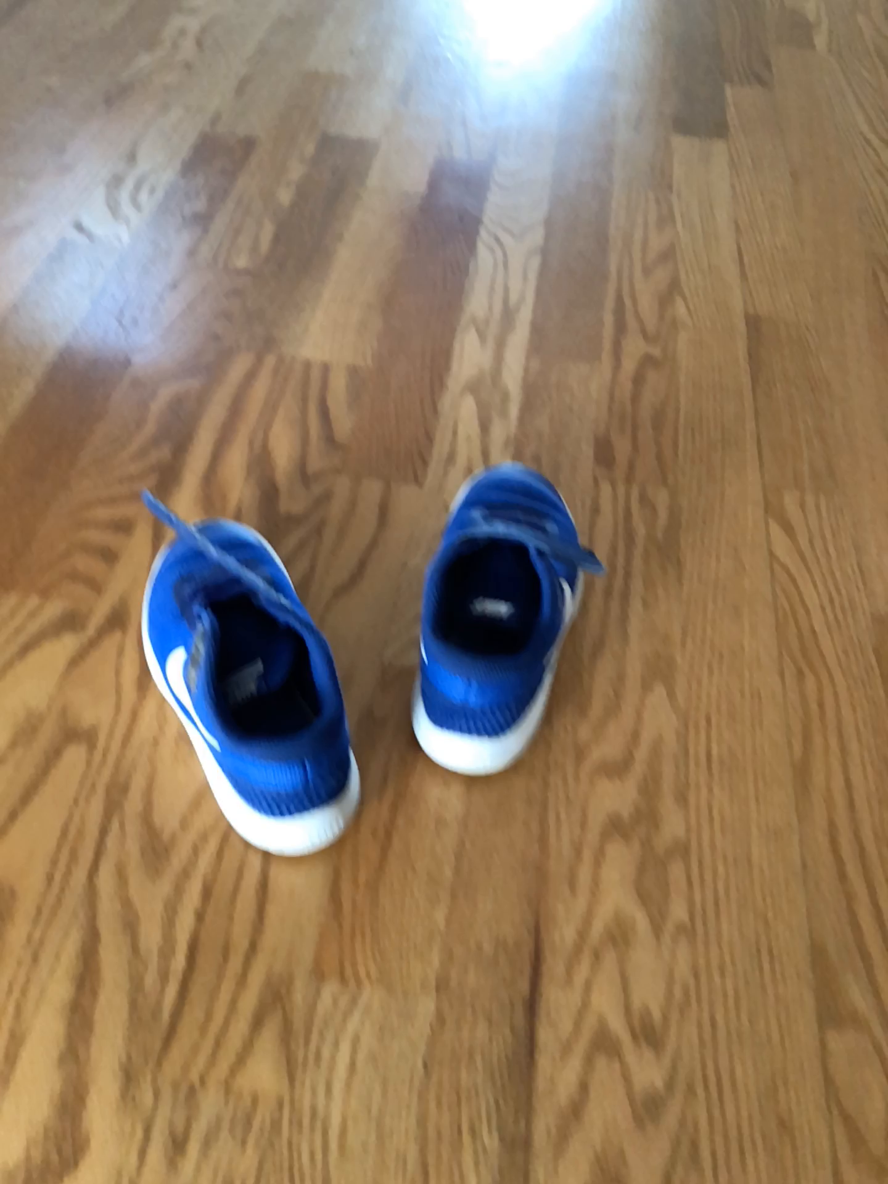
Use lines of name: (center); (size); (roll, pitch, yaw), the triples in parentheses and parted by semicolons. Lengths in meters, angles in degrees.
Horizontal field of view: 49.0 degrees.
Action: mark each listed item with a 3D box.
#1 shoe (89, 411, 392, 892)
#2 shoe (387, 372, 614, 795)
shoe: (-0.106, 0.020, 0.491); (0.093, 0.092, 0.215); (-15, 52, -15)
shoe: (0.035, -0.013, 0.536); (0.093, 0.092, 0.215); (8, 50, 4)
